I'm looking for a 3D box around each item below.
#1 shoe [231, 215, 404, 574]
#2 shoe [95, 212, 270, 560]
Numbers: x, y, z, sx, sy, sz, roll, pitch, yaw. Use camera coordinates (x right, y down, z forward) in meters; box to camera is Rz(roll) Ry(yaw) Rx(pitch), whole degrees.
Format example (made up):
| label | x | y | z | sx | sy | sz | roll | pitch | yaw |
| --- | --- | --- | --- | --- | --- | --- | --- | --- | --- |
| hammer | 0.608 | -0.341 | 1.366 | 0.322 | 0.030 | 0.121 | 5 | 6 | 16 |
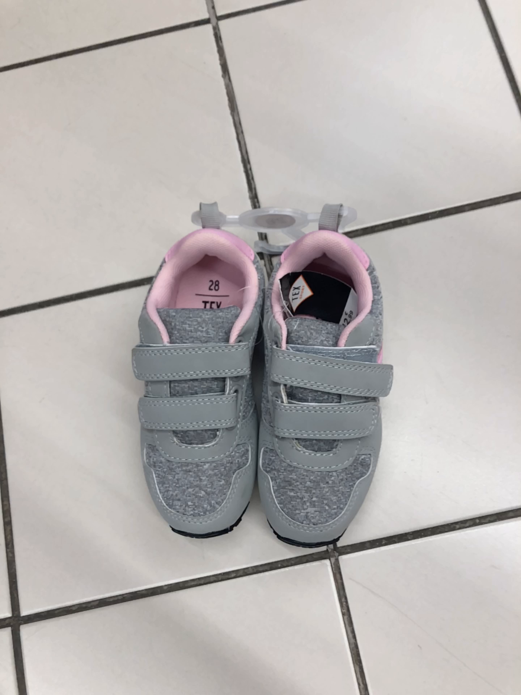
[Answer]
| label | x | y | z | sx | sy | sz | roll | pitch | yaw |
| --- | --- | --- | --- | --- | --- | --- | --- | --- | --- |
| shoe | 0.035 | 0.026 | 0.332 | 0.080 | 0.080 | 0.180 | 3 | 76 | 5 |
| shoe | -0.037 | 0.022 | 0.333 | 0.080 | 0.070 | 0.180 | -1 | 76 | 5 |
